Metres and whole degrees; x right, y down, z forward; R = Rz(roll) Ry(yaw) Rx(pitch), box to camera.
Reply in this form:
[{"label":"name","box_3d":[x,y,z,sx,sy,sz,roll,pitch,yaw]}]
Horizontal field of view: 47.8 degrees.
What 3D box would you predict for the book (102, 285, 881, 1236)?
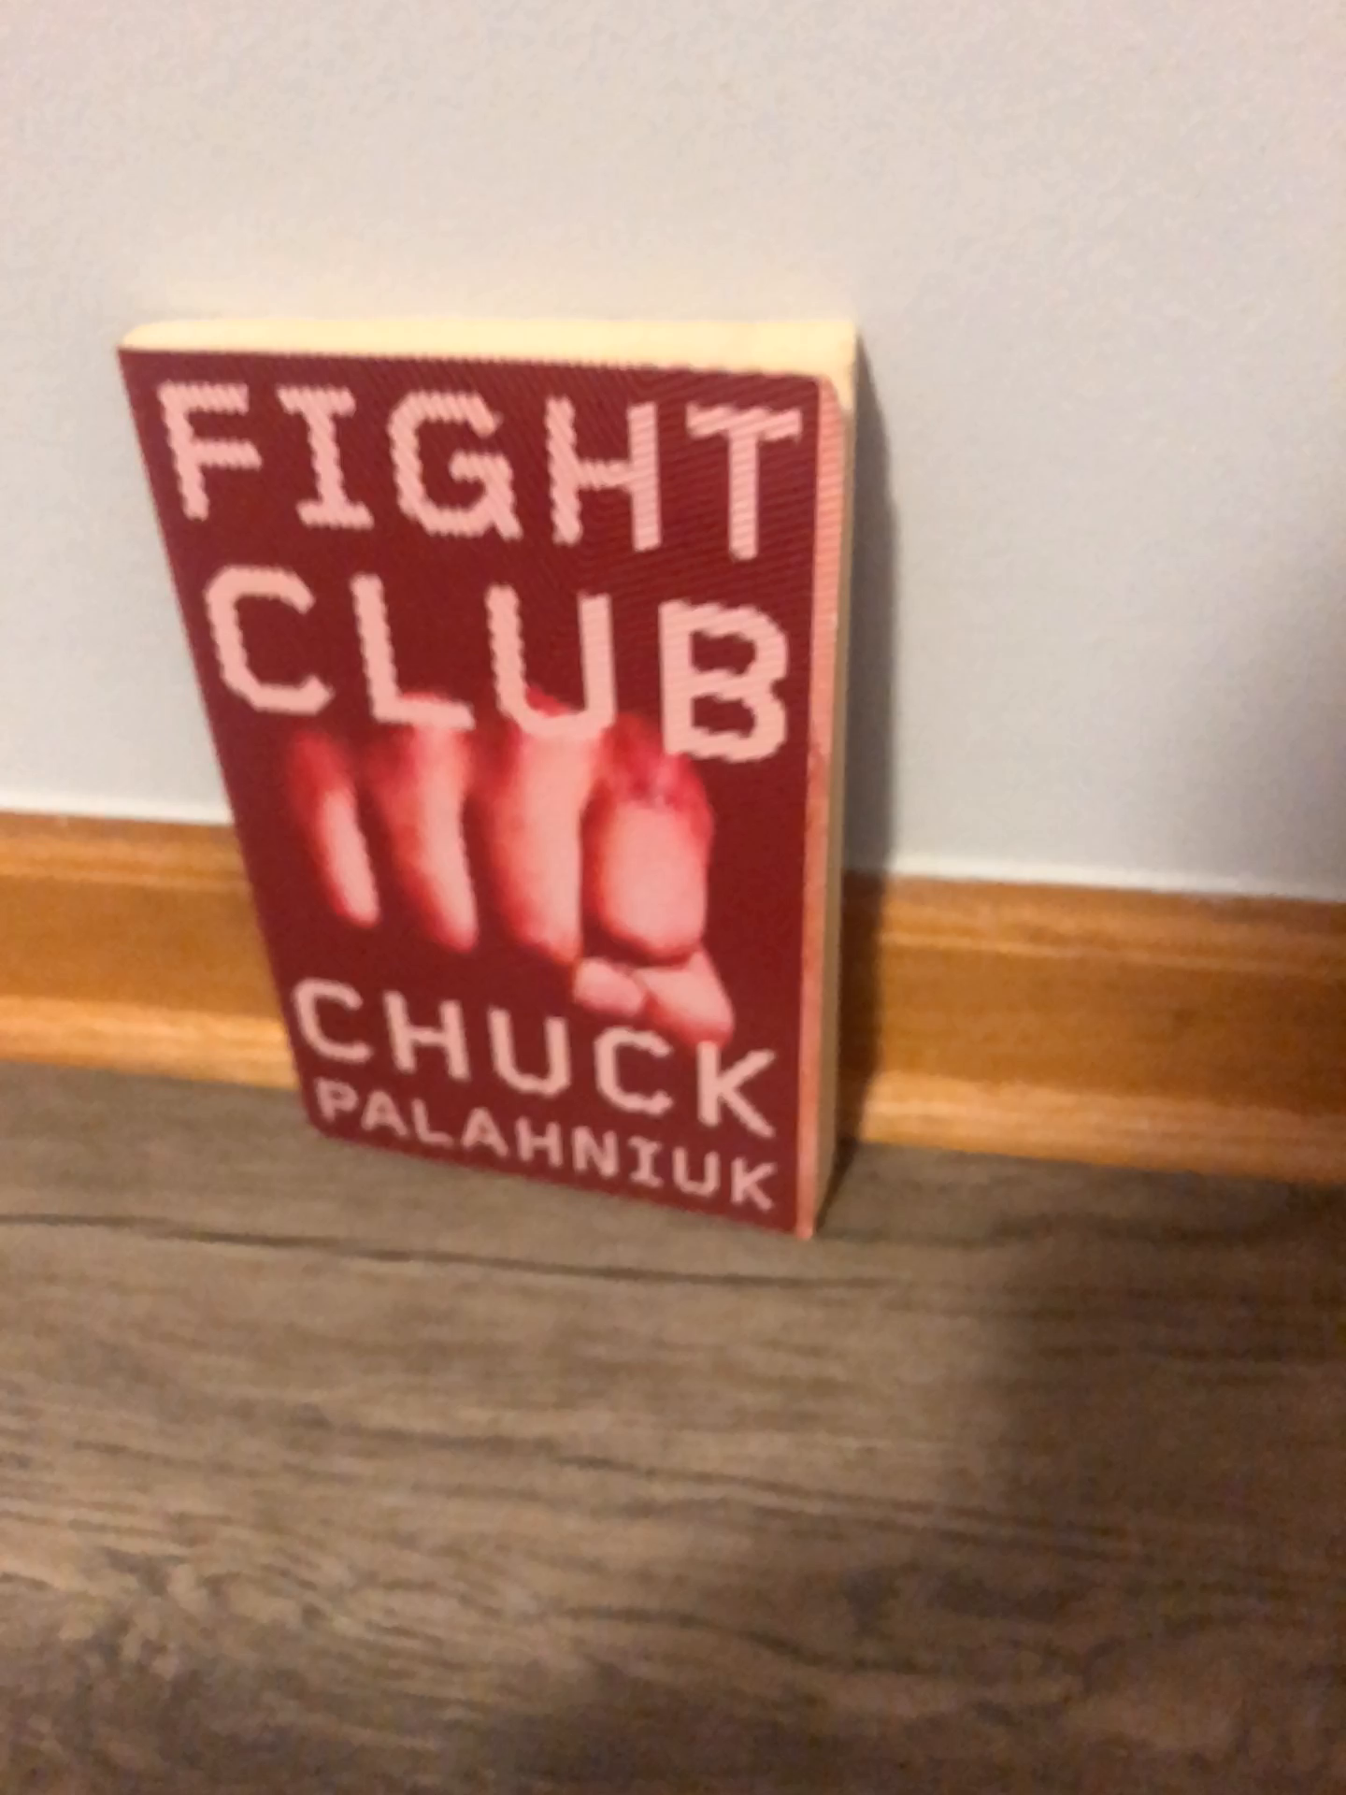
[{"label":"book","box_3d":[-0.031,-0.019,0.337,0.138,0.210,0.030,8,38,13]}]
